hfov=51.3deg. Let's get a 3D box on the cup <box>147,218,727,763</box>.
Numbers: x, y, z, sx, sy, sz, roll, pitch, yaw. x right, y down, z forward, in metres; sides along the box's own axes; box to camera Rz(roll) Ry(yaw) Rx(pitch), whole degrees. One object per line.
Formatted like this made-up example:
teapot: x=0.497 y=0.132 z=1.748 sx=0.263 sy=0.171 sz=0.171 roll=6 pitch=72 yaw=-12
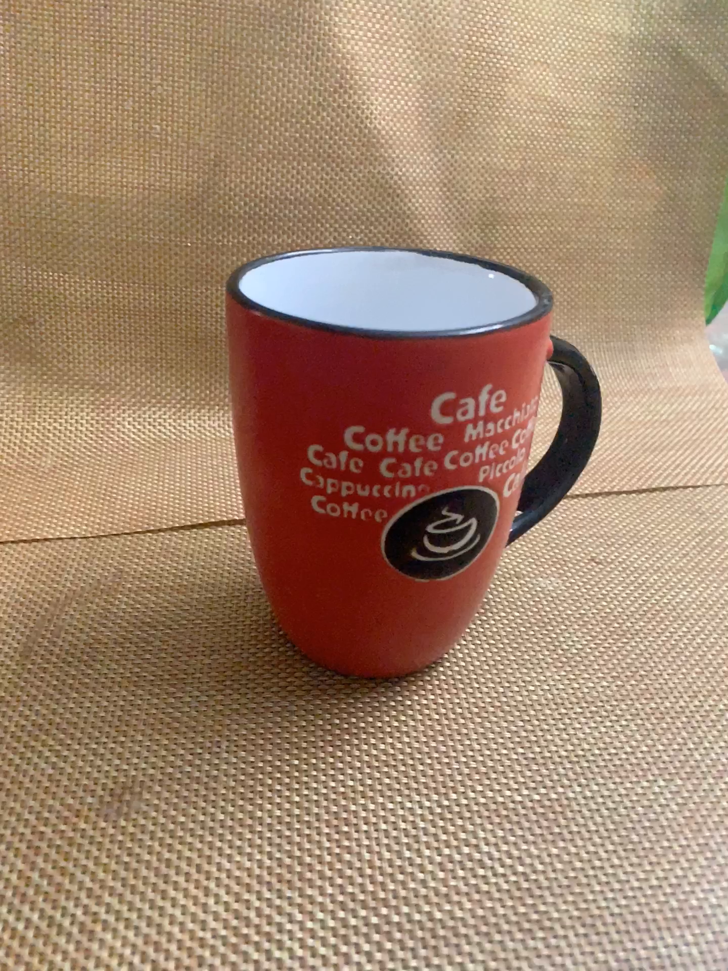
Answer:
cup: x=0.017 y=-0.012 z=0.216 sx=0.120 sy=0.099 sz=0.090 roll=-16 pitch=34 yaw=-29
